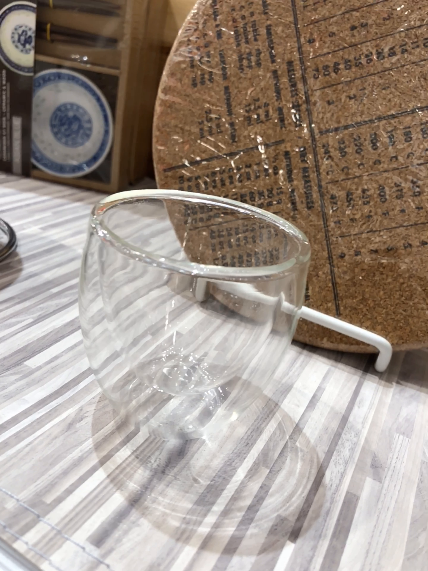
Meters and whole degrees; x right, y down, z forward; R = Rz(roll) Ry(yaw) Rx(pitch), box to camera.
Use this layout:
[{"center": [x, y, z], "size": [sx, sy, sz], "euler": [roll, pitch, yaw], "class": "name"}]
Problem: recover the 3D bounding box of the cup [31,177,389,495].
[{"center": [-0.008, 0.004, 0.139], "size": [0.070, 0.050, 0.070], "euler": [9, 26, -4], "class": "cup"}]
